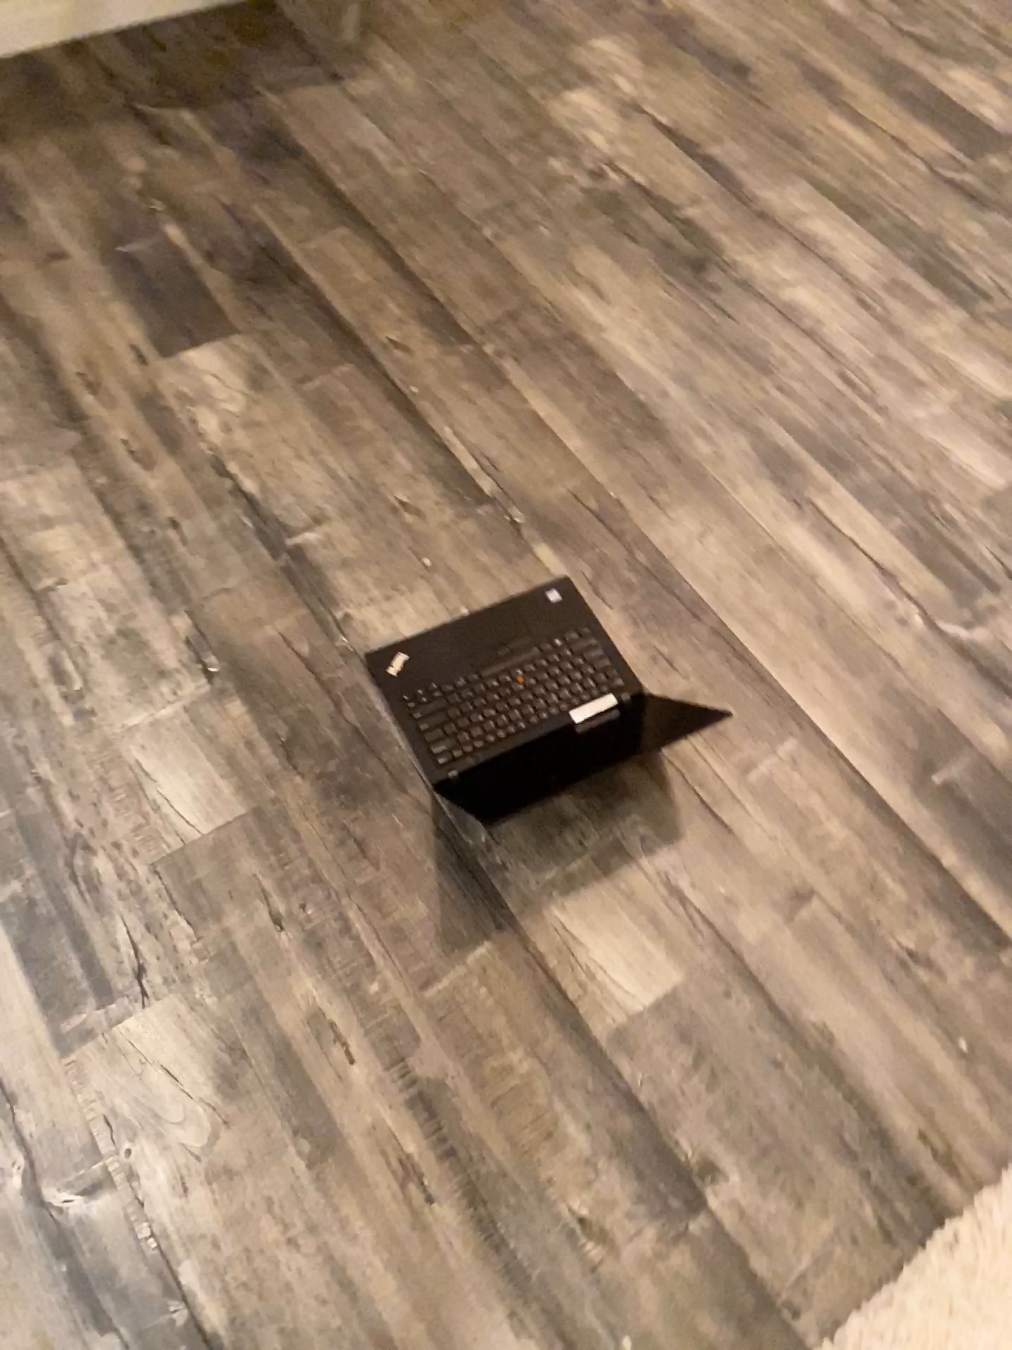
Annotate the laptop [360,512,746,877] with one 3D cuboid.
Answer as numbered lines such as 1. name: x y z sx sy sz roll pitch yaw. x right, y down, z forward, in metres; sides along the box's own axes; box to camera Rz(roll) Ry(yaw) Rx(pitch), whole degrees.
1. laptop: 0.043 0.012 1.288 0.319 0.149 0.356 -23 60 -18
